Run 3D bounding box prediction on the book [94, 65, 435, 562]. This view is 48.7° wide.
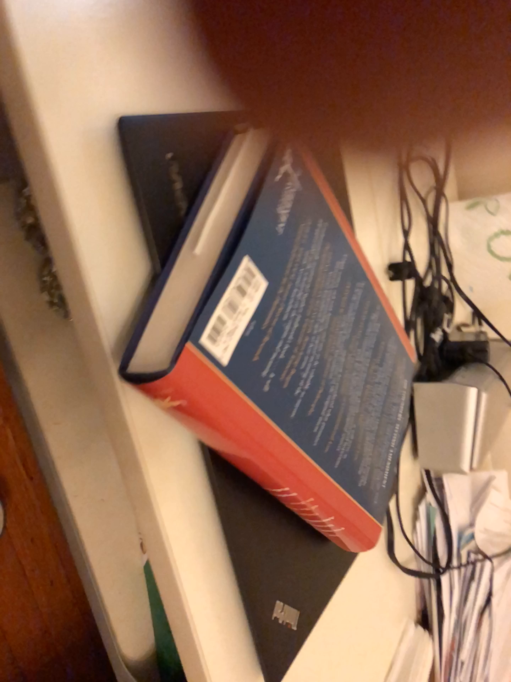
[{"bbox_3d":[0.038,0.003,0.326,0.241,0.040,0.170,47,50,-42],"label":"book"}]
